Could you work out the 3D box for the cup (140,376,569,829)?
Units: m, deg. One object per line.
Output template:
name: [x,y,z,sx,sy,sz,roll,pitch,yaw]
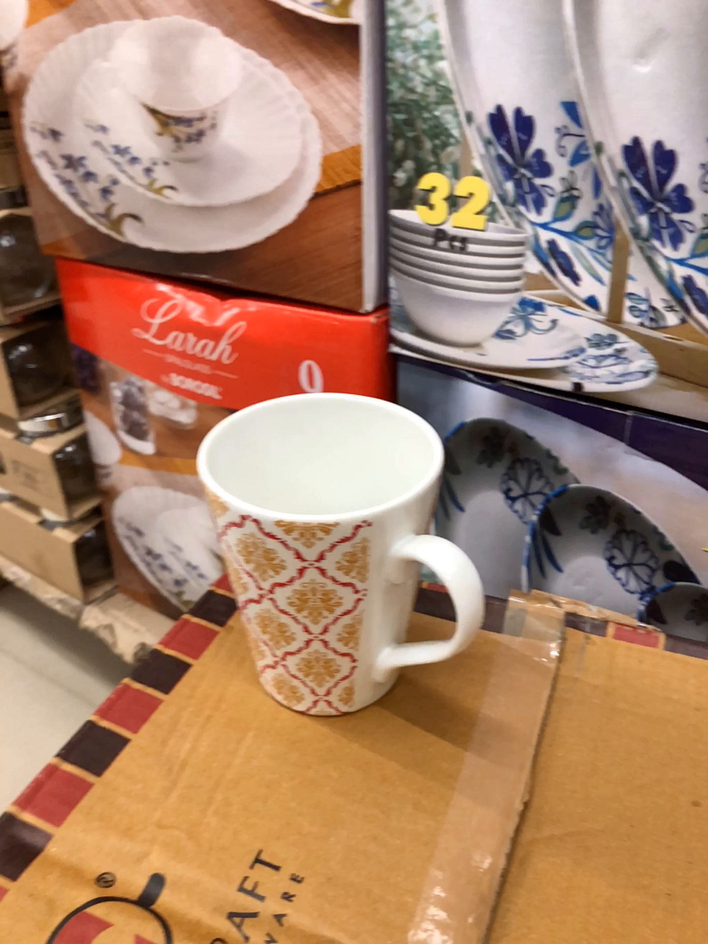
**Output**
cup: [-0.001,0.034,0.279,0.090,0.089,0.110,-25,36,-36]
